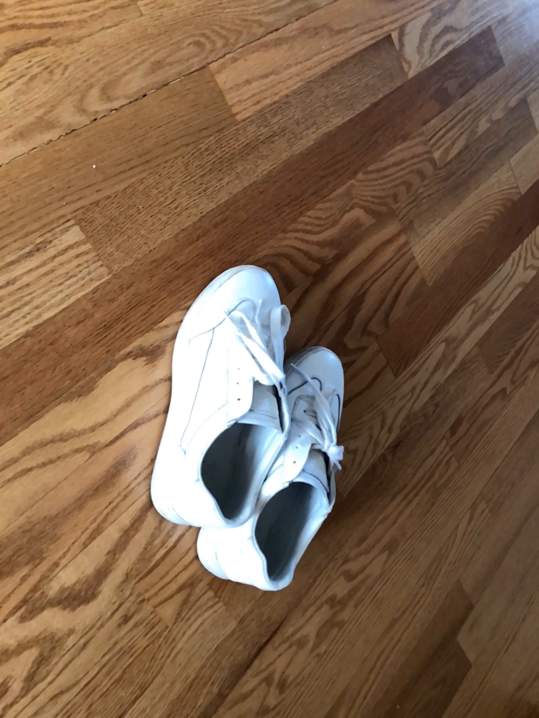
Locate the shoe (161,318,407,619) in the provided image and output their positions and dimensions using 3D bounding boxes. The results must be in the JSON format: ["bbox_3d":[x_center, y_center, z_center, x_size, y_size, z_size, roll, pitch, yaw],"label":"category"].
[{"bbox_3d":[0.020,0.098,0.590,0.103,0.106,0.260,39,68,-29],"label":"shoe"}]

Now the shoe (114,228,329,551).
[{"bbox_3d":[-0.043,0.028,0.548,0.103,0.104,0.260,20,78,-34],"label":"shoe"}]
